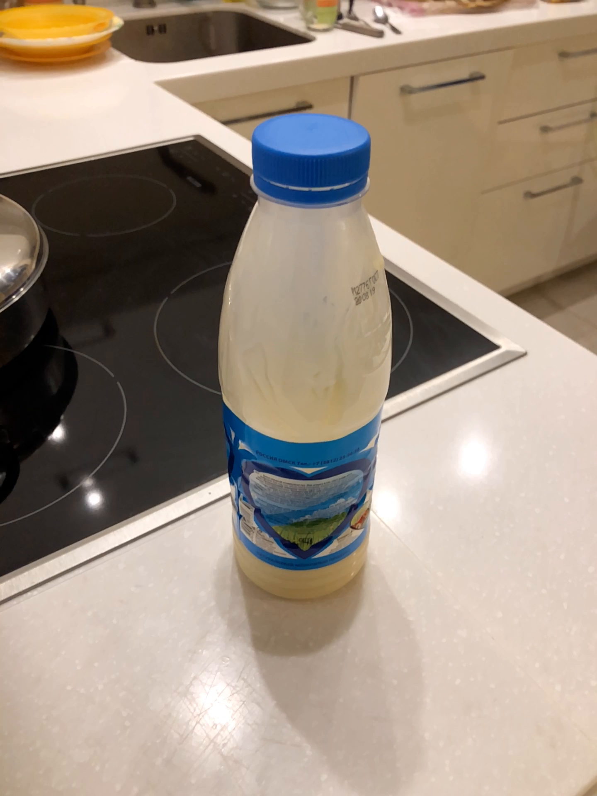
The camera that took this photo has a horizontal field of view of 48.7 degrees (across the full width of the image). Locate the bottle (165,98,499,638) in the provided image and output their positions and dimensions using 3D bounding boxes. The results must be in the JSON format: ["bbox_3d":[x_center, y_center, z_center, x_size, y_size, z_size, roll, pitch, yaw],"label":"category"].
[{"bbox_3d":[0.007,-0.002,0.289,0.080,0.213,0.080,1,40,-1],"label":"bottle"}]
